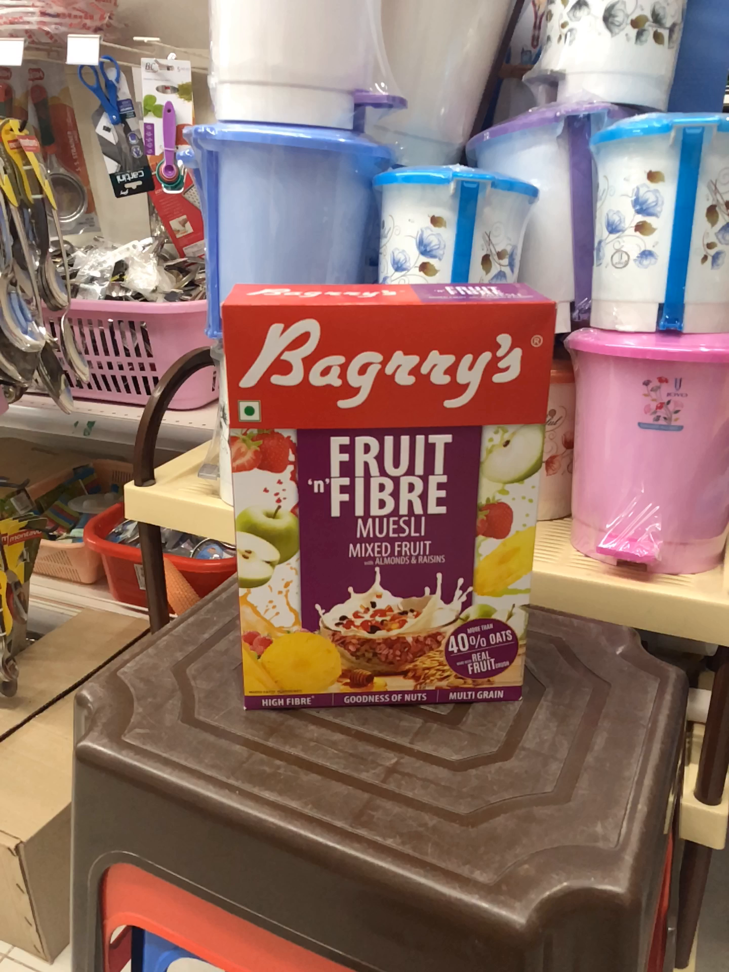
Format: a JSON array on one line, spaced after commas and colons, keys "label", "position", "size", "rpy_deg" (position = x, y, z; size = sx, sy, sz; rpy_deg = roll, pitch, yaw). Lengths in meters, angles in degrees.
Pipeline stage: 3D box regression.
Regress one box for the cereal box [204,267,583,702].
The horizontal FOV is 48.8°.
[{"label": "cereal box", "position": [0.015, 0.001, 0.502], "size": [0.200, 0.259, 0.070], "rpy_deg": [-1, 21, -2]}]
